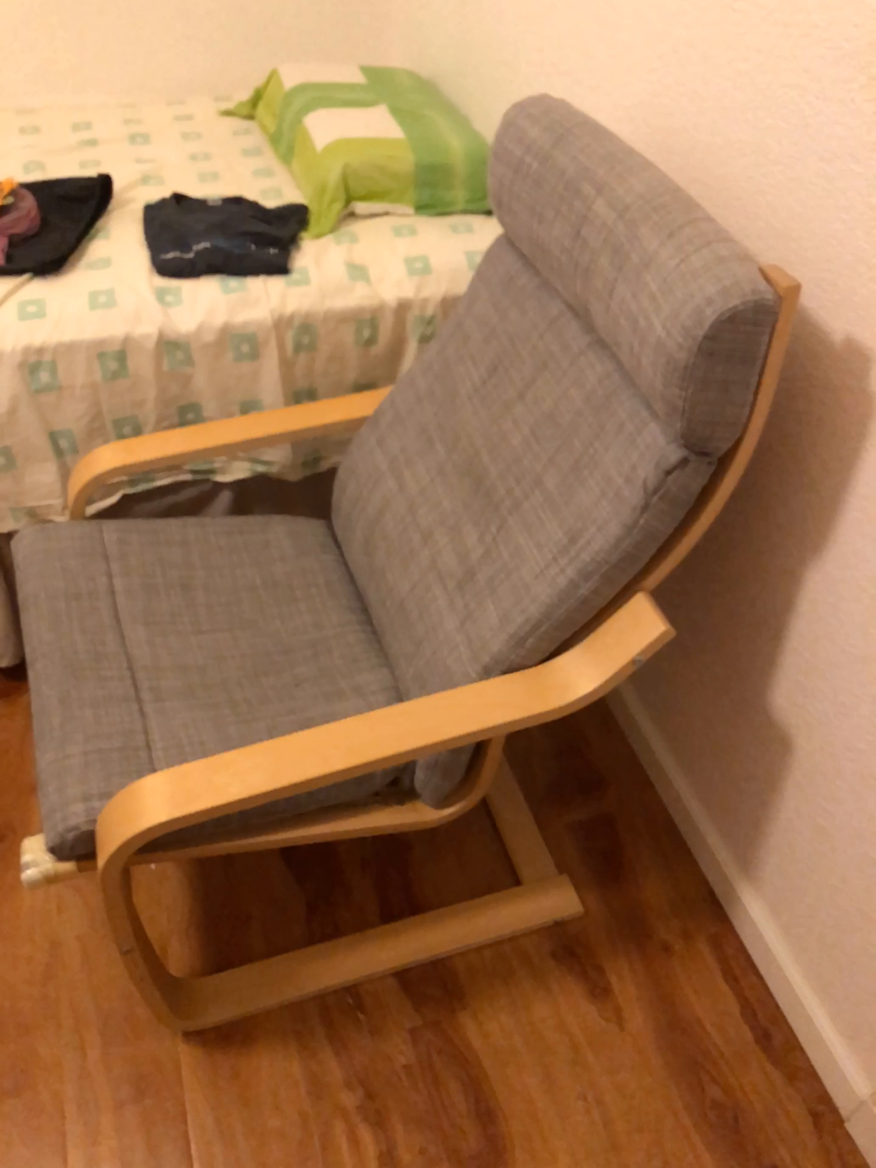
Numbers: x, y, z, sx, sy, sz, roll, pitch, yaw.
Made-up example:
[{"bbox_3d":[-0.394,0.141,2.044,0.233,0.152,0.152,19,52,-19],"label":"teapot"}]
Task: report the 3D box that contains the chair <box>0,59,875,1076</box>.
[{"bbox_3d":[-0.109,-0.036,1.176,0.800,0.885,0.684,-10,44,-13],"label":"chair"}]
